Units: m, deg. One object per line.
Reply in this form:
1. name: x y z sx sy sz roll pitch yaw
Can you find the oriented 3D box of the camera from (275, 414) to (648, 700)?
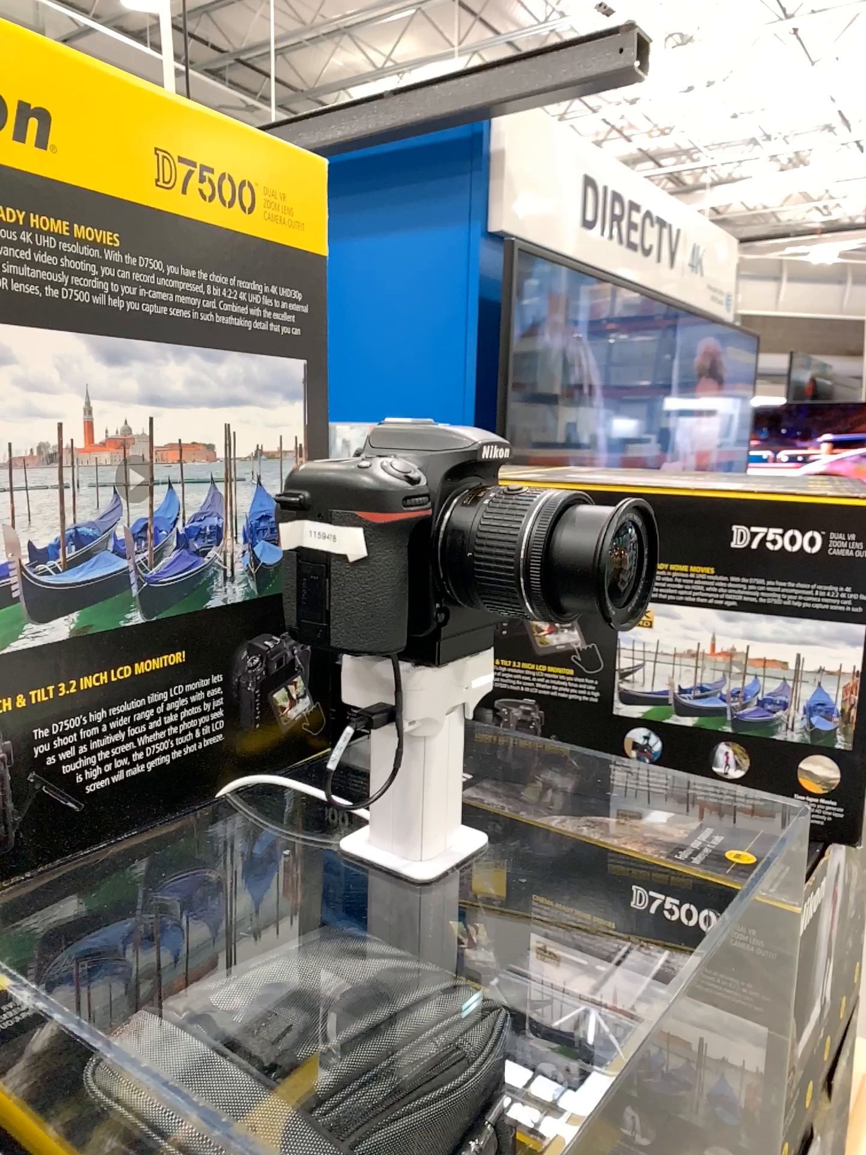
1. camera: 0.020 -0.021 0.436 0.110 0.110 0.160 6 10 35
